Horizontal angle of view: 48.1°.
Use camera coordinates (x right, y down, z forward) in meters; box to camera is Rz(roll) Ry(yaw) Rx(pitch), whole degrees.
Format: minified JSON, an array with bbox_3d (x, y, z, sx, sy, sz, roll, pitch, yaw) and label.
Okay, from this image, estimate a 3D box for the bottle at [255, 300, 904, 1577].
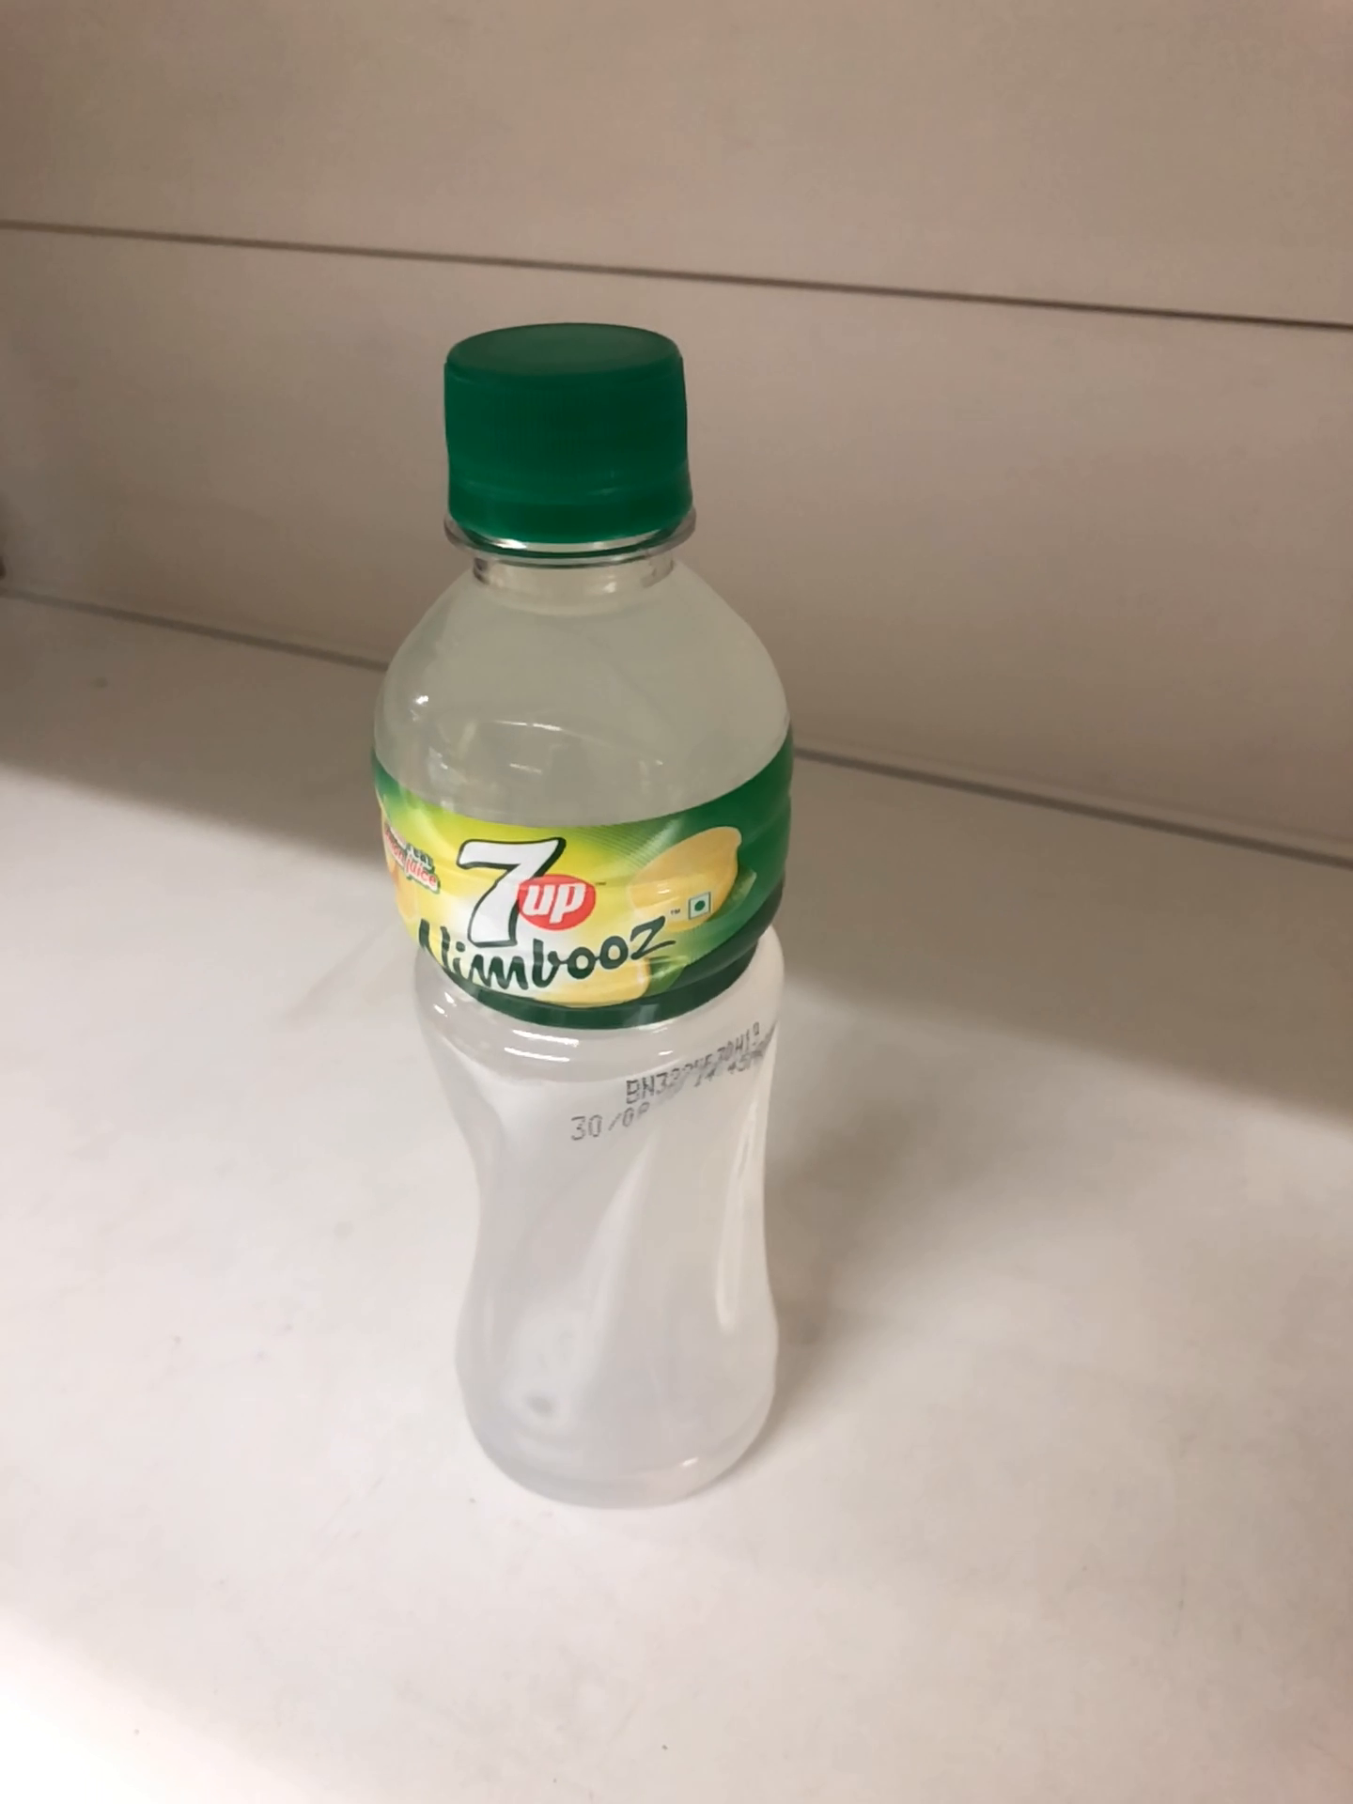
[{"bbox_3d":[-0.009,0.013,0.249,0.070,0.199,0.060,8,31,13],"label":"bottle"}]
